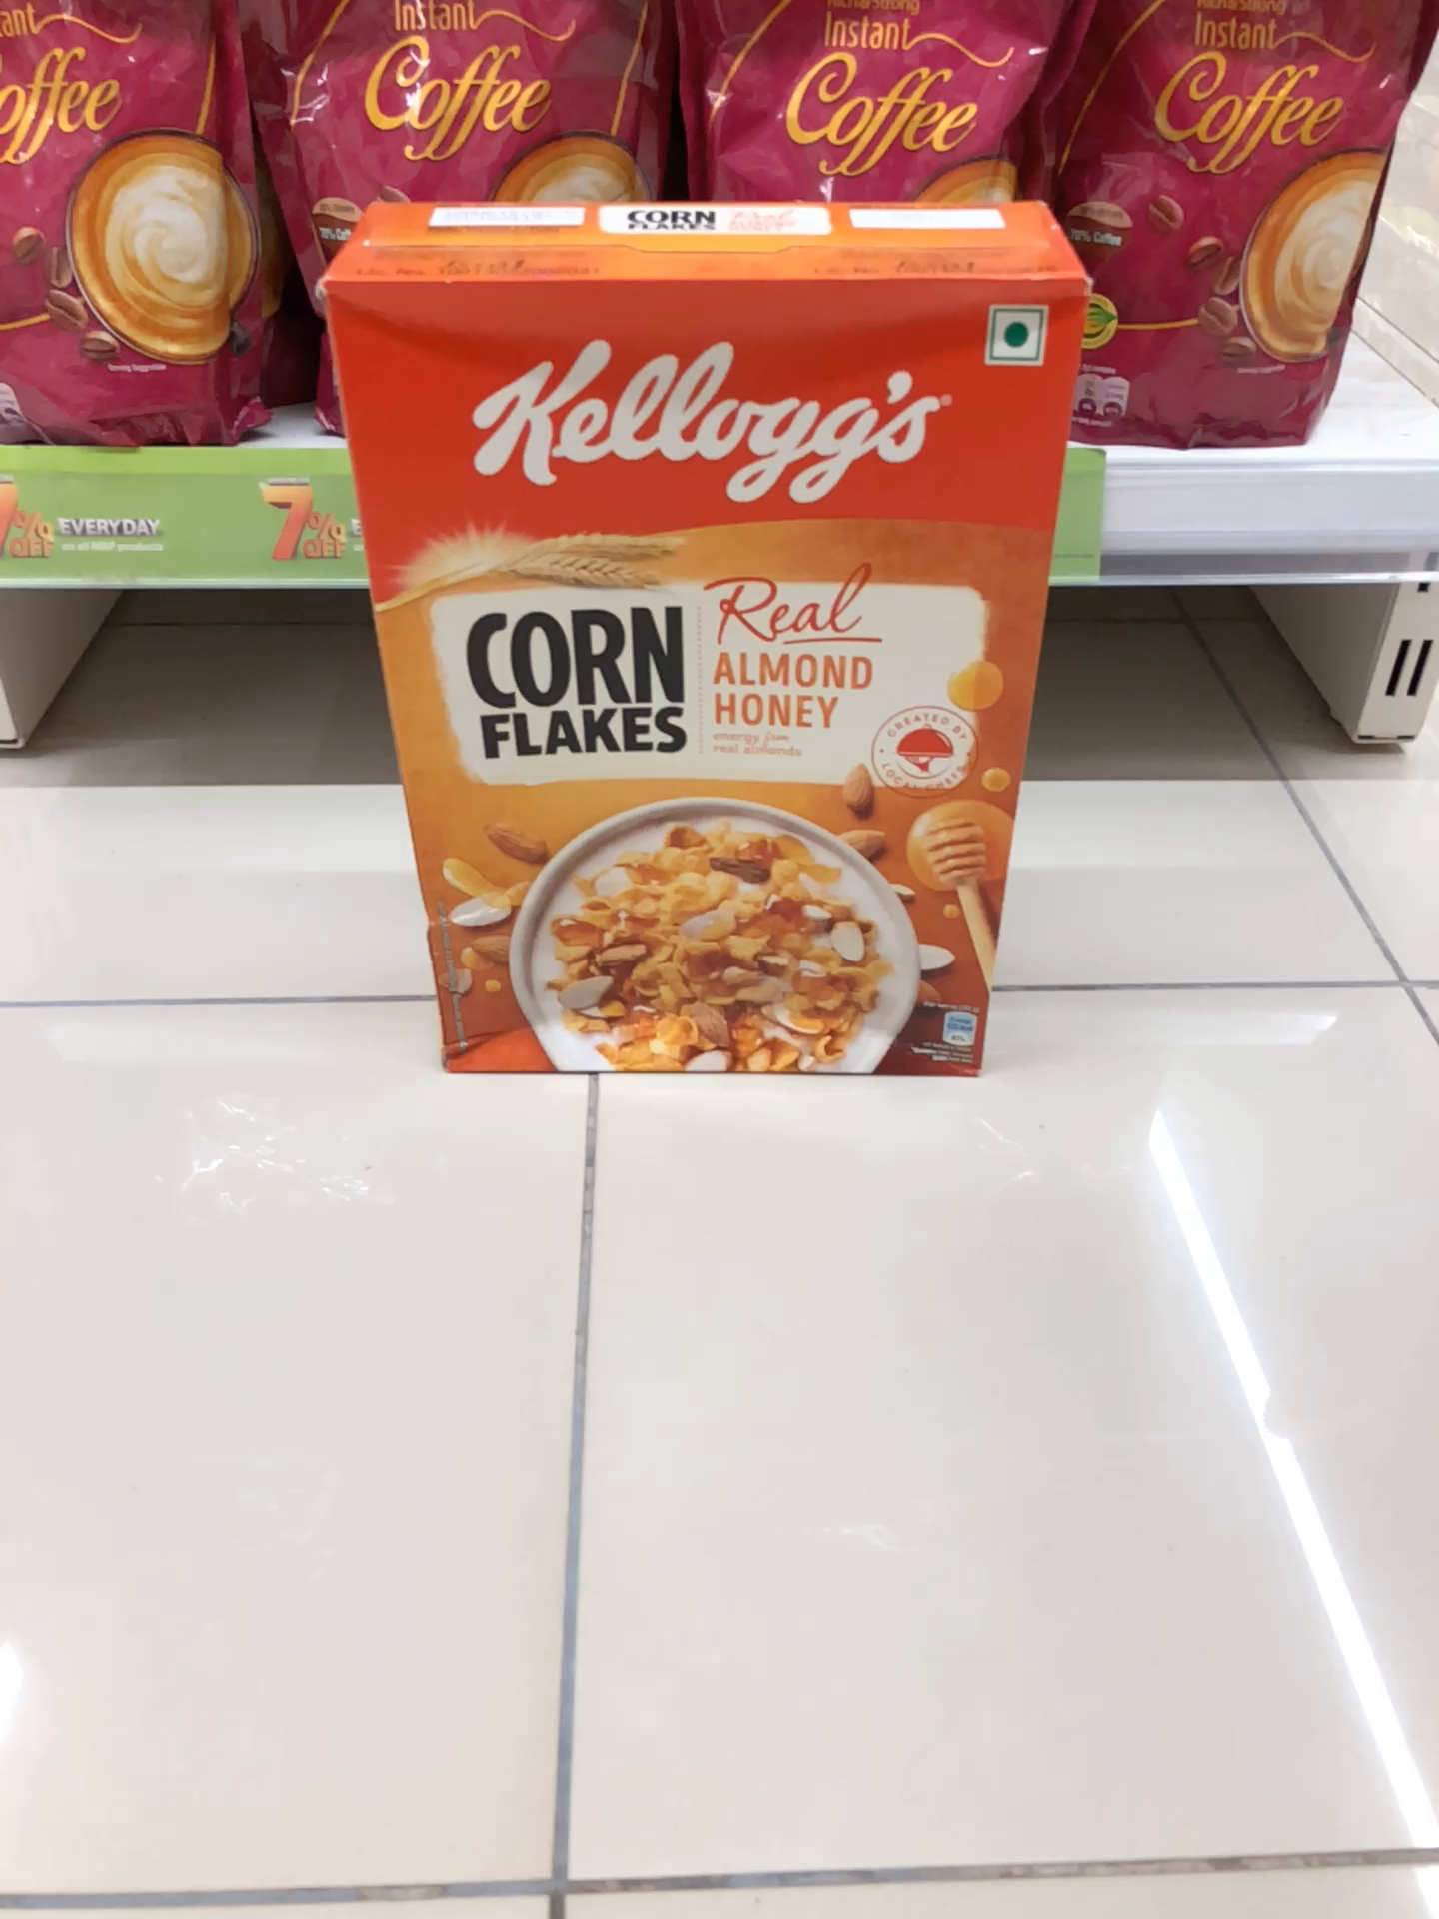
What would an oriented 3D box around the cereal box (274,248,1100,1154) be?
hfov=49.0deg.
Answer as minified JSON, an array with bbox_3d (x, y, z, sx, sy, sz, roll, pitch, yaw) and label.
[{"bbox_3d":[-0.007,-0.068,0.493,0.200,0.268,0.081,1,36,2],"label":"cereal box"}]
